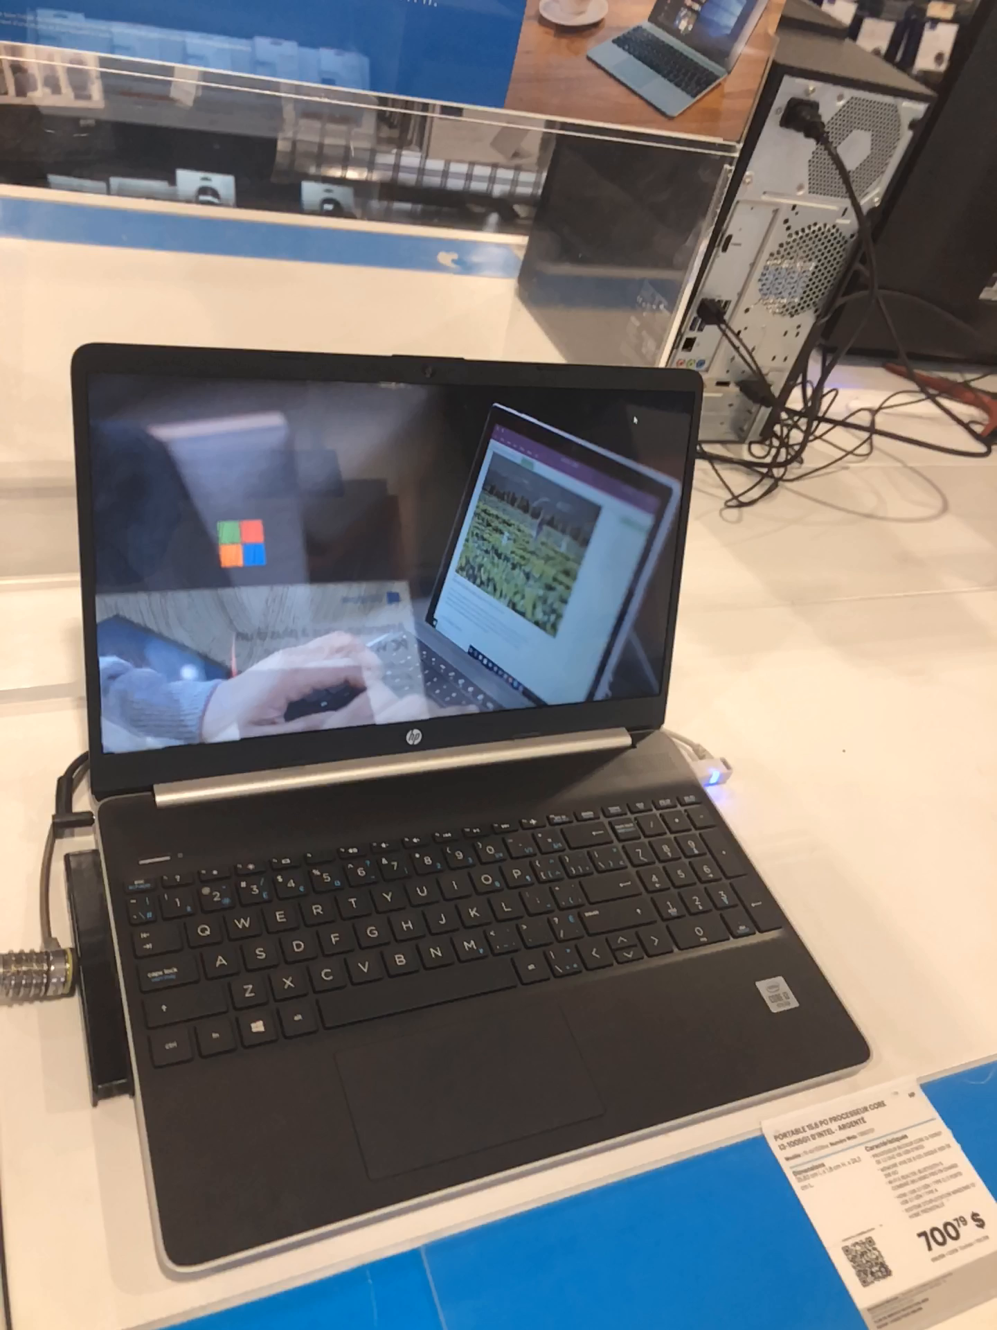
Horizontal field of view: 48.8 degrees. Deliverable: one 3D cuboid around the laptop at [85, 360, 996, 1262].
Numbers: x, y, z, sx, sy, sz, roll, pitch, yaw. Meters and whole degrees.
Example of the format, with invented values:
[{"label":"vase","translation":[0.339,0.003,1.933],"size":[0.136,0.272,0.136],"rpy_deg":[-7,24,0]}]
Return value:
[{"label":"laptop","translation":[-0.002,0.028,0.540],"size":[0.346,0.196,0.335],"rpy_deg":[-5,44,-25]}]
